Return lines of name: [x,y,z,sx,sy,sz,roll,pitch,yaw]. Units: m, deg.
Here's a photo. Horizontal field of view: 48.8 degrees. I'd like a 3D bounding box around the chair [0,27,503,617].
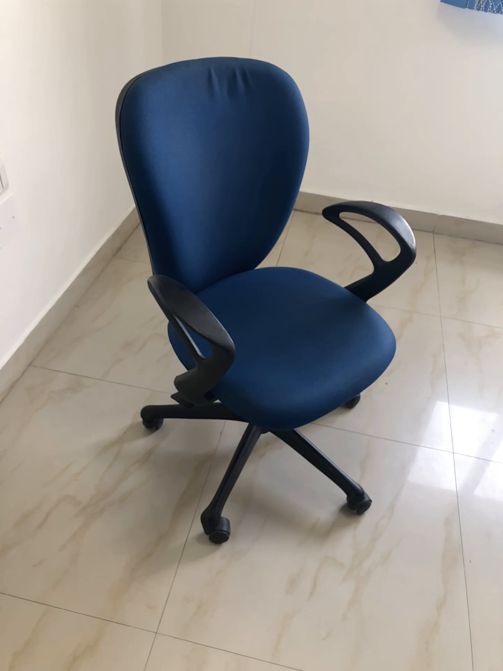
chair: [0.056,-0.055,1.219,0.701,0.914,0.654,21,42,18]
